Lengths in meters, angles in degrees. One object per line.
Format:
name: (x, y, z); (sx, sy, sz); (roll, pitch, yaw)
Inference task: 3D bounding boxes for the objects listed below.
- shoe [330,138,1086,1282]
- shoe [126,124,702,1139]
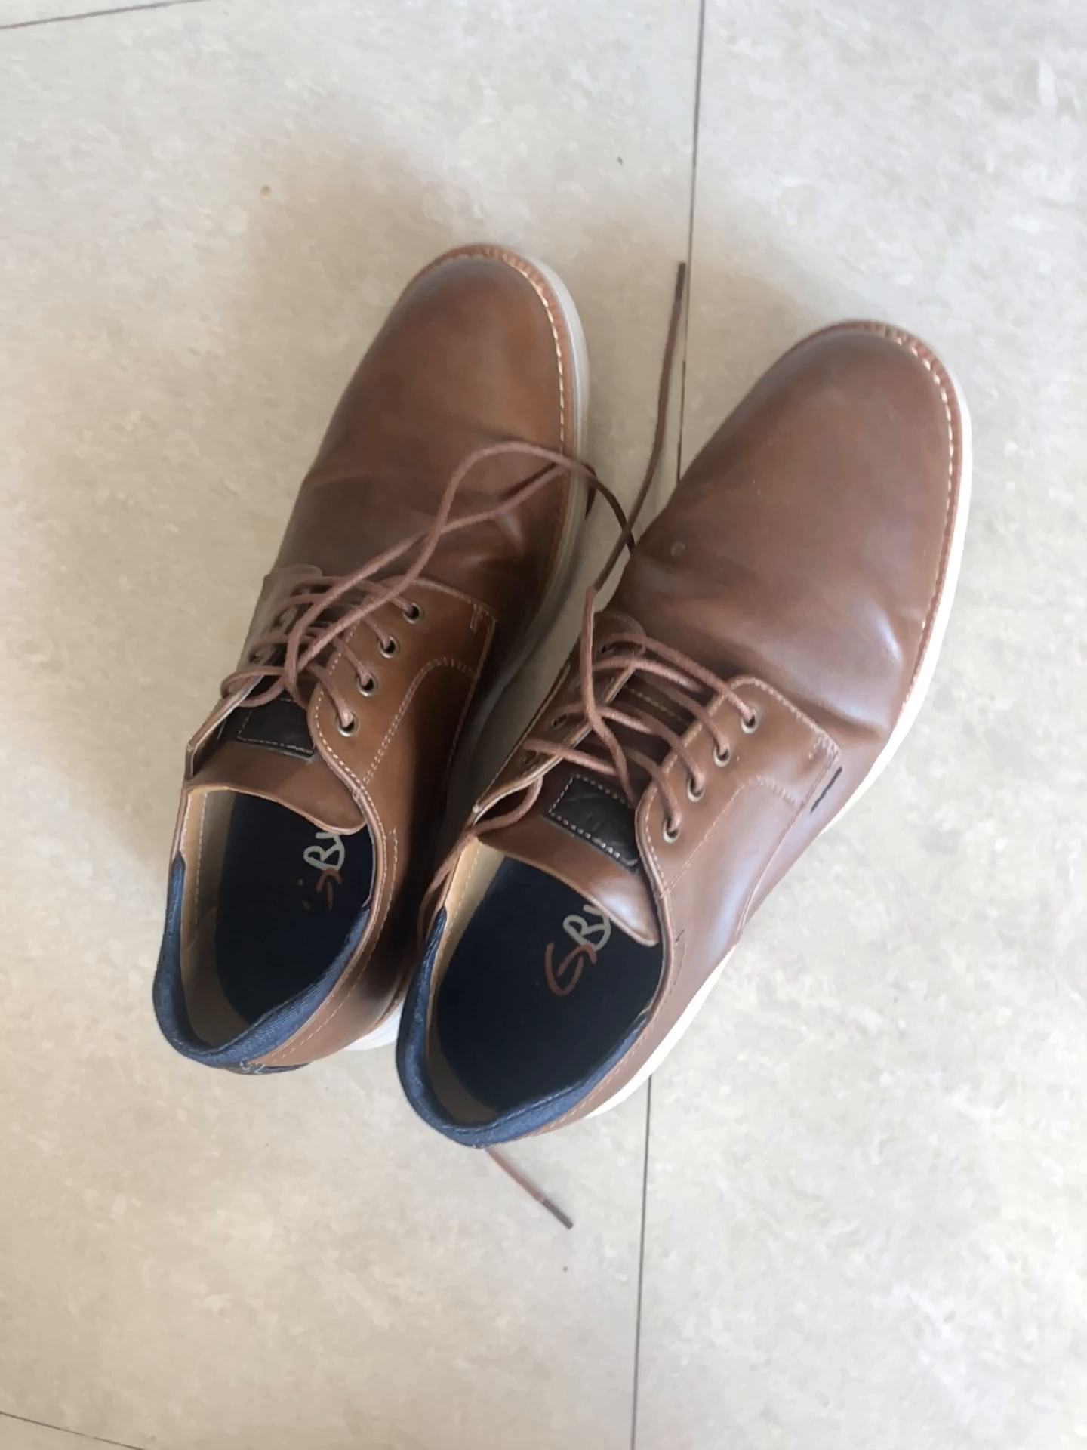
shoe: (0.059, -0.001, 0.386); (0.100, 0.100, 0.310); (28, 97, 15)
shoe: (-0.041, -0.031, 0.433); (0.100, 0.100, 0.310); (17, 94, 16)
